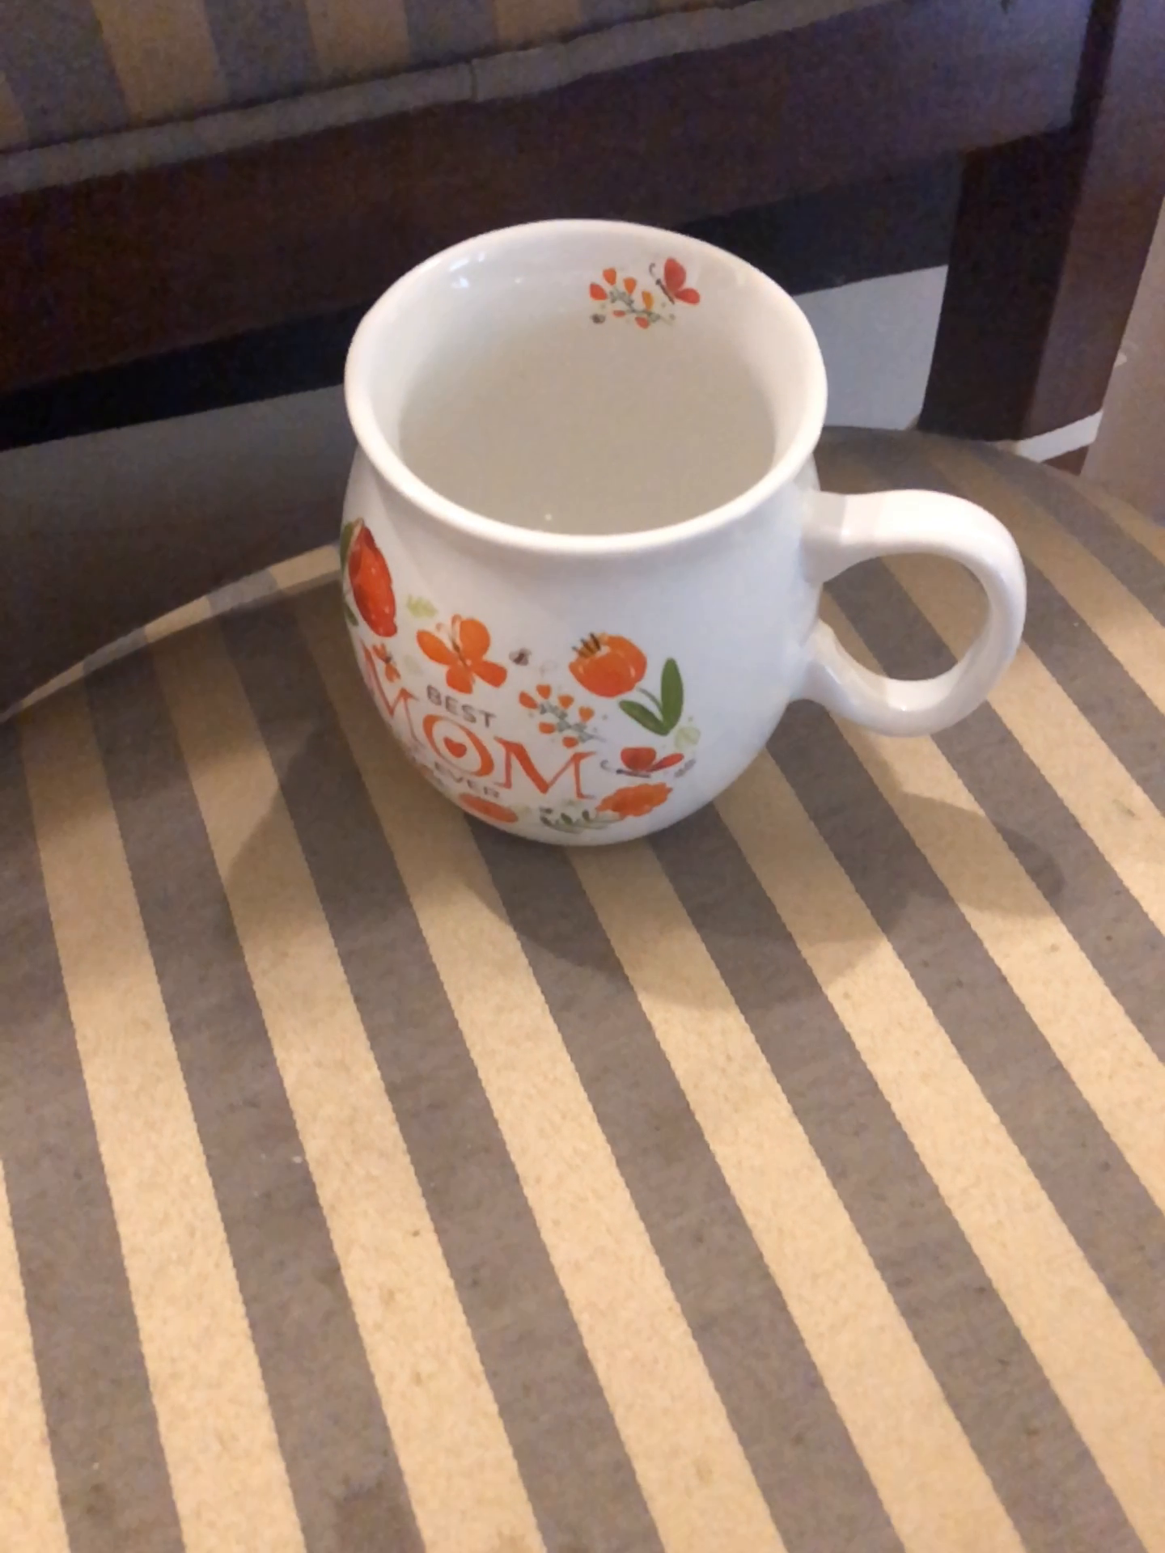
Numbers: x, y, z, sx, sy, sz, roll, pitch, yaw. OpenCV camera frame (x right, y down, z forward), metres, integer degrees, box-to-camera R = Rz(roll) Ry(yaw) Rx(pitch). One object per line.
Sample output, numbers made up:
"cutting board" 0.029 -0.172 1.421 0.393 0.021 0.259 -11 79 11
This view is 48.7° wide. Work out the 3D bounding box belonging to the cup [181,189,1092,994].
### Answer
"cup" 0.017 -0.041 0.269 0.140 0.090 0.110 14 55 11
